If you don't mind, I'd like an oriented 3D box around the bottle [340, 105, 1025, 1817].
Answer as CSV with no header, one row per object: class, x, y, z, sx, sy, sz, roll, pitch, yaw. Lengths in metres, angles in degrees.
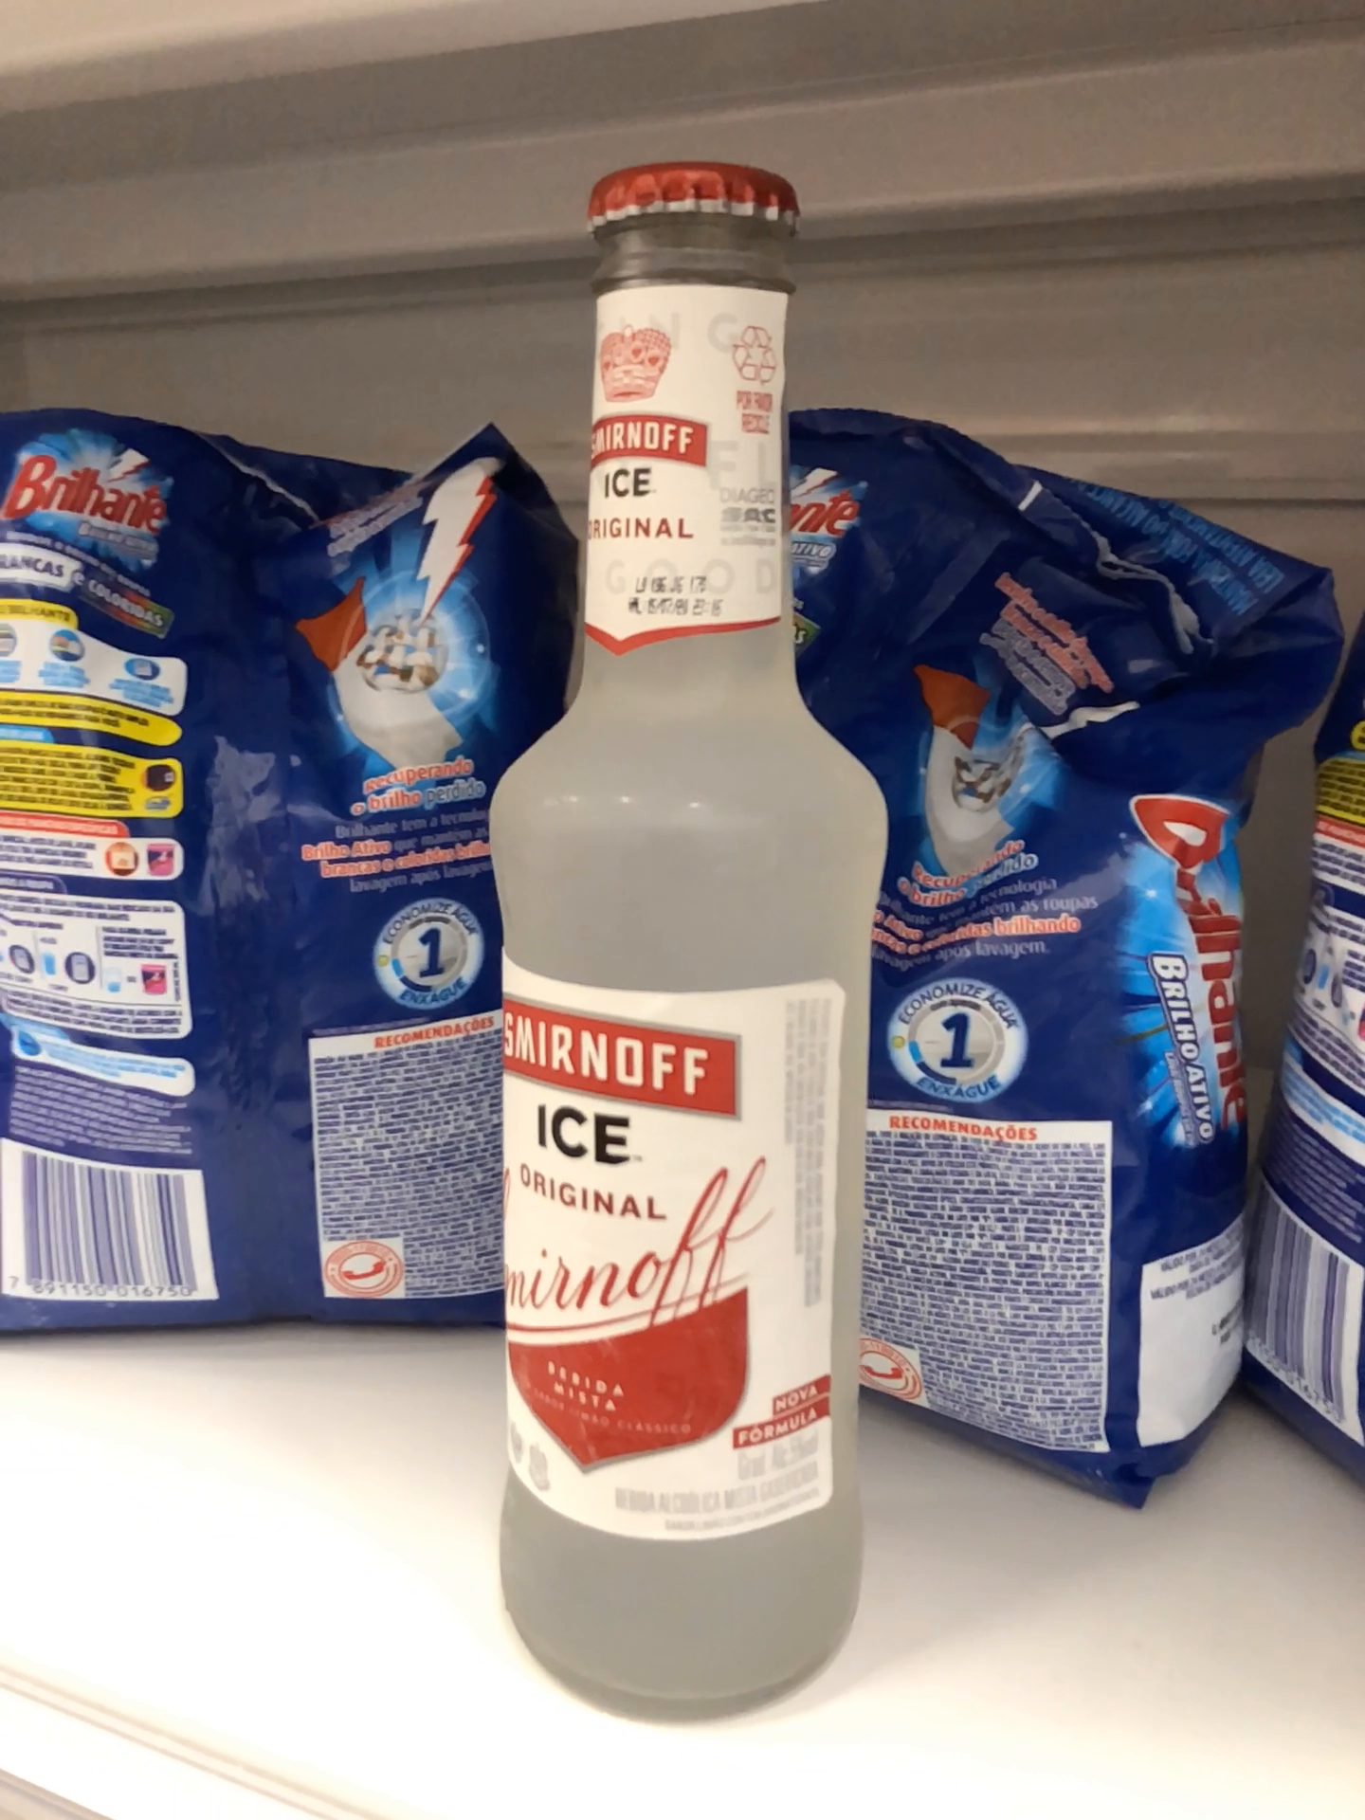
bottle,0.000,0.008,0.223,0.070,0.209,0.060,8,14,32
